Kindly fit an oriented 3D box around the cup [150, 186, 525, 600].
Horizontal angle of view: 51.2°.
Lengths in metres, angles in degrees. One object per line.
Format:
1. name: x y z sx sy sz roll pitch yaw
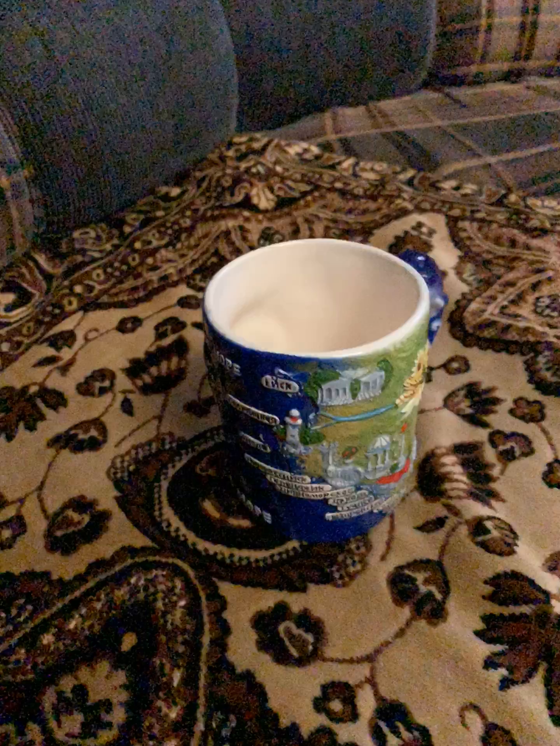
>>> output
1. cup: 0.030 0.000 0.263 0.084 0.105 0.137 27 48 30
